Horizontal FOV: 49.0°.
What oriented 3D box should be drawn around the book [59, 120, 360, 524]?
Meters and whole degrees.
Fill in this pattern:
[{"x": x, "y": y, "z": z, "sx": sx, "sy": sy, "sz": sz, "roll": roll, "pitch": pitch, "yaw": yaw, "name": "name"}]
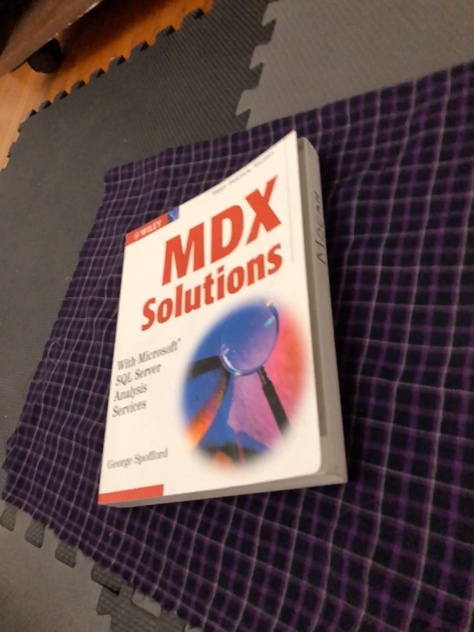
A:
[{"x": -0.030, "y": 0.011, "z": 0.402, "sx": 0.220, "sy": 0.050, "sz": 0.261, "roll": -21, "pitch": 55, "yaw": 35, "name": "book"}]
